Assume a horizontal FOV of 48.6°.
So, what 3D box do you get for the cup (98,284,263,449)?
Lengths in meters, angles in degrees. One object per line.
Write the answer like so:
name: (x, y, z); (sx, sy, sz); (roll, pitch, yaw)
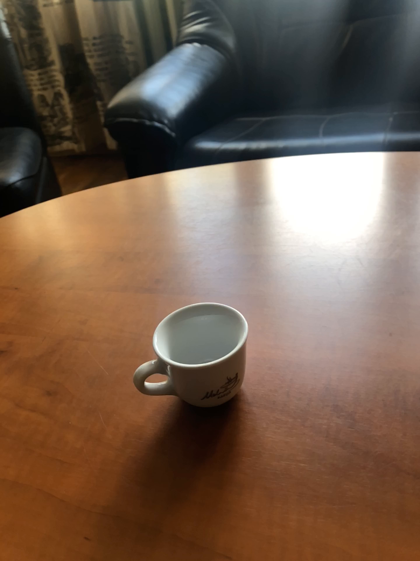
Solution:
cup: (-0.019, 0.053, 0.313); (0.083, 0.050, 0.065); (-25, 37, -22)
